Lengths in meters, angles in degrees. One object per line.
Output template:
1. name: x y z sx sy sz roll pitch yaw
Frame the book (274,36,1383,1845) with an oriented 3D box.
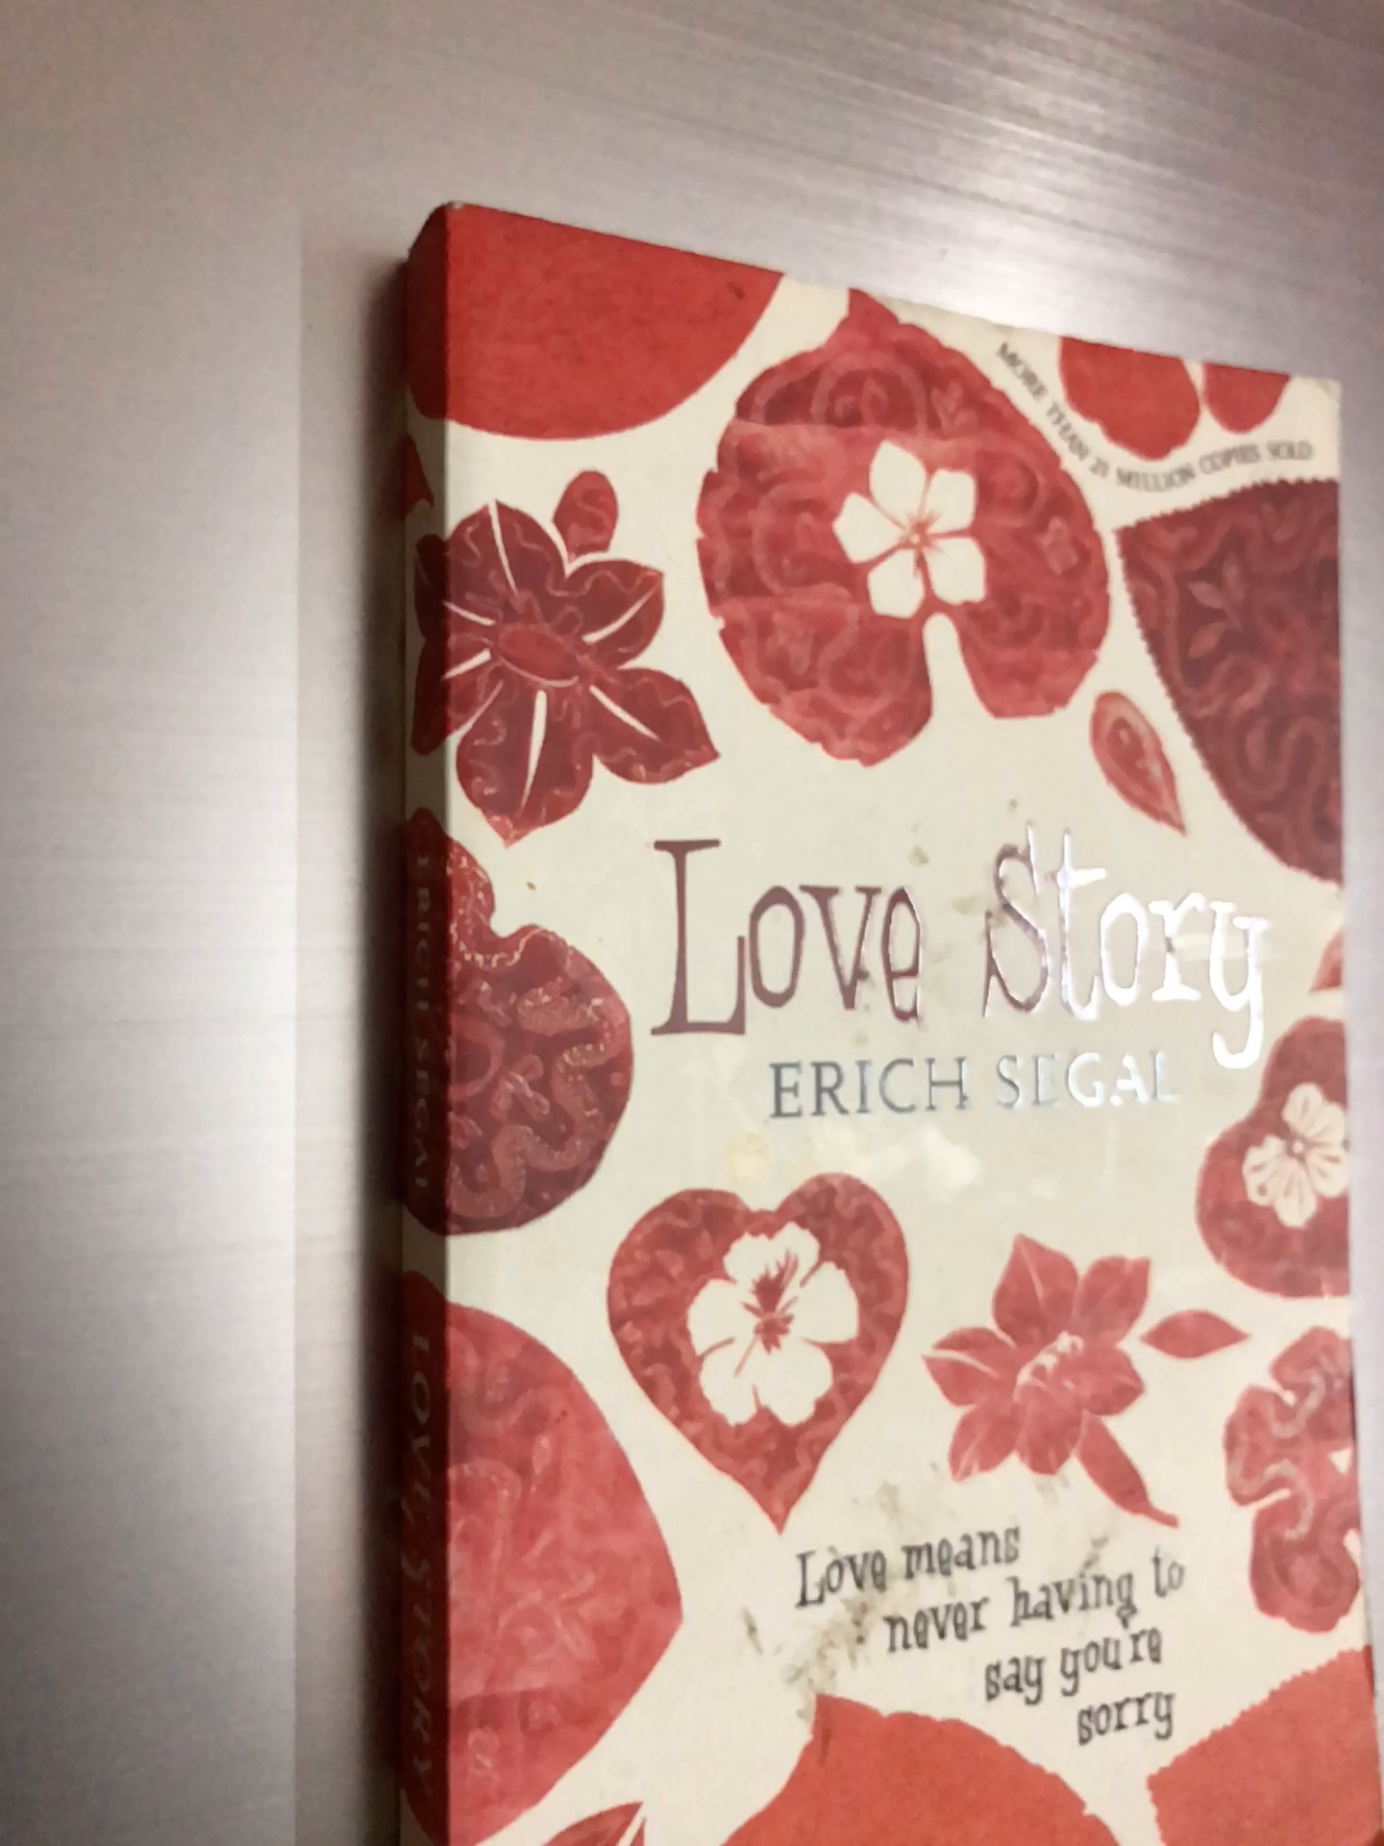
1. book: 0.020 0.018 0.168 0.120 0.030 0.180 0 87 -28
